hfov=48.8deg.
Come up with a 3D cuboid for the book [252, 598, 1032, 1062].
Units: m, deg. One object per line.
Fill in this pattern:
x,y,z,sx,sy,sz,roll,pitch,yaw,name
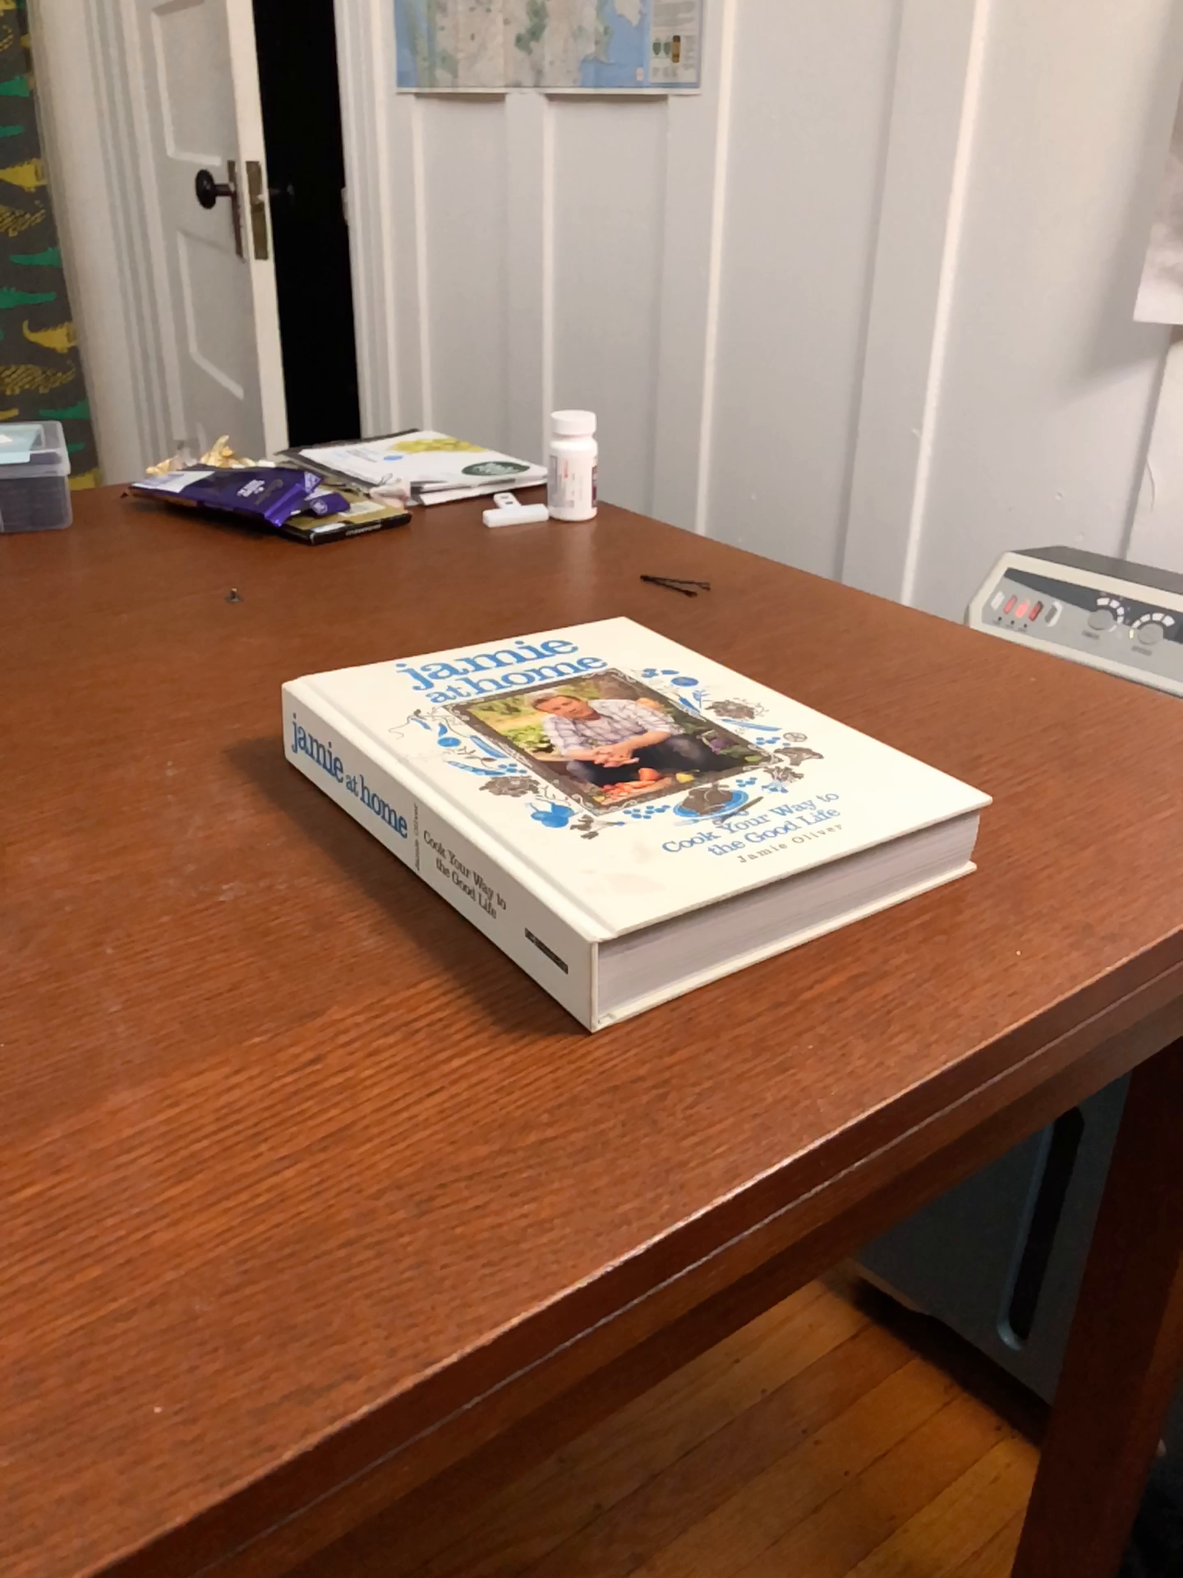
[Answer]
0.009,-0.008,0.550,0.210,0.040,0.261,-17,32,-31,book
